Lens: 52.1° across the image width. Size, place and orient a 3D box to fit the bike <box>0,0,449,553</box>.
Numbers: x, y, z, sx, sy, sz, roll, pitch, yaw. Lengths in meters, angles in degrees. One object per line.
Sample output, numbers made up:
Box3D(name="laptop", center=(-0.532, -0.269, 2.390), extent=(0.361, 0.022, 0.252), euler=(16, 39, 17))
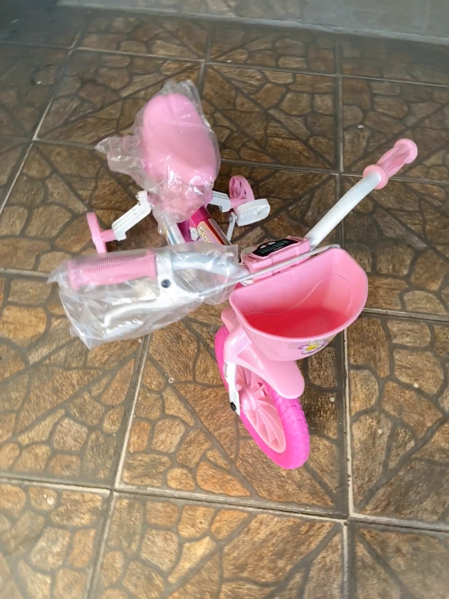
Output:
Box3D(name="bike", center=(-0.042, -0.094, 0.854), extent=(0.511, 0.563, 0.794), euler=(-18, 61, -13))
